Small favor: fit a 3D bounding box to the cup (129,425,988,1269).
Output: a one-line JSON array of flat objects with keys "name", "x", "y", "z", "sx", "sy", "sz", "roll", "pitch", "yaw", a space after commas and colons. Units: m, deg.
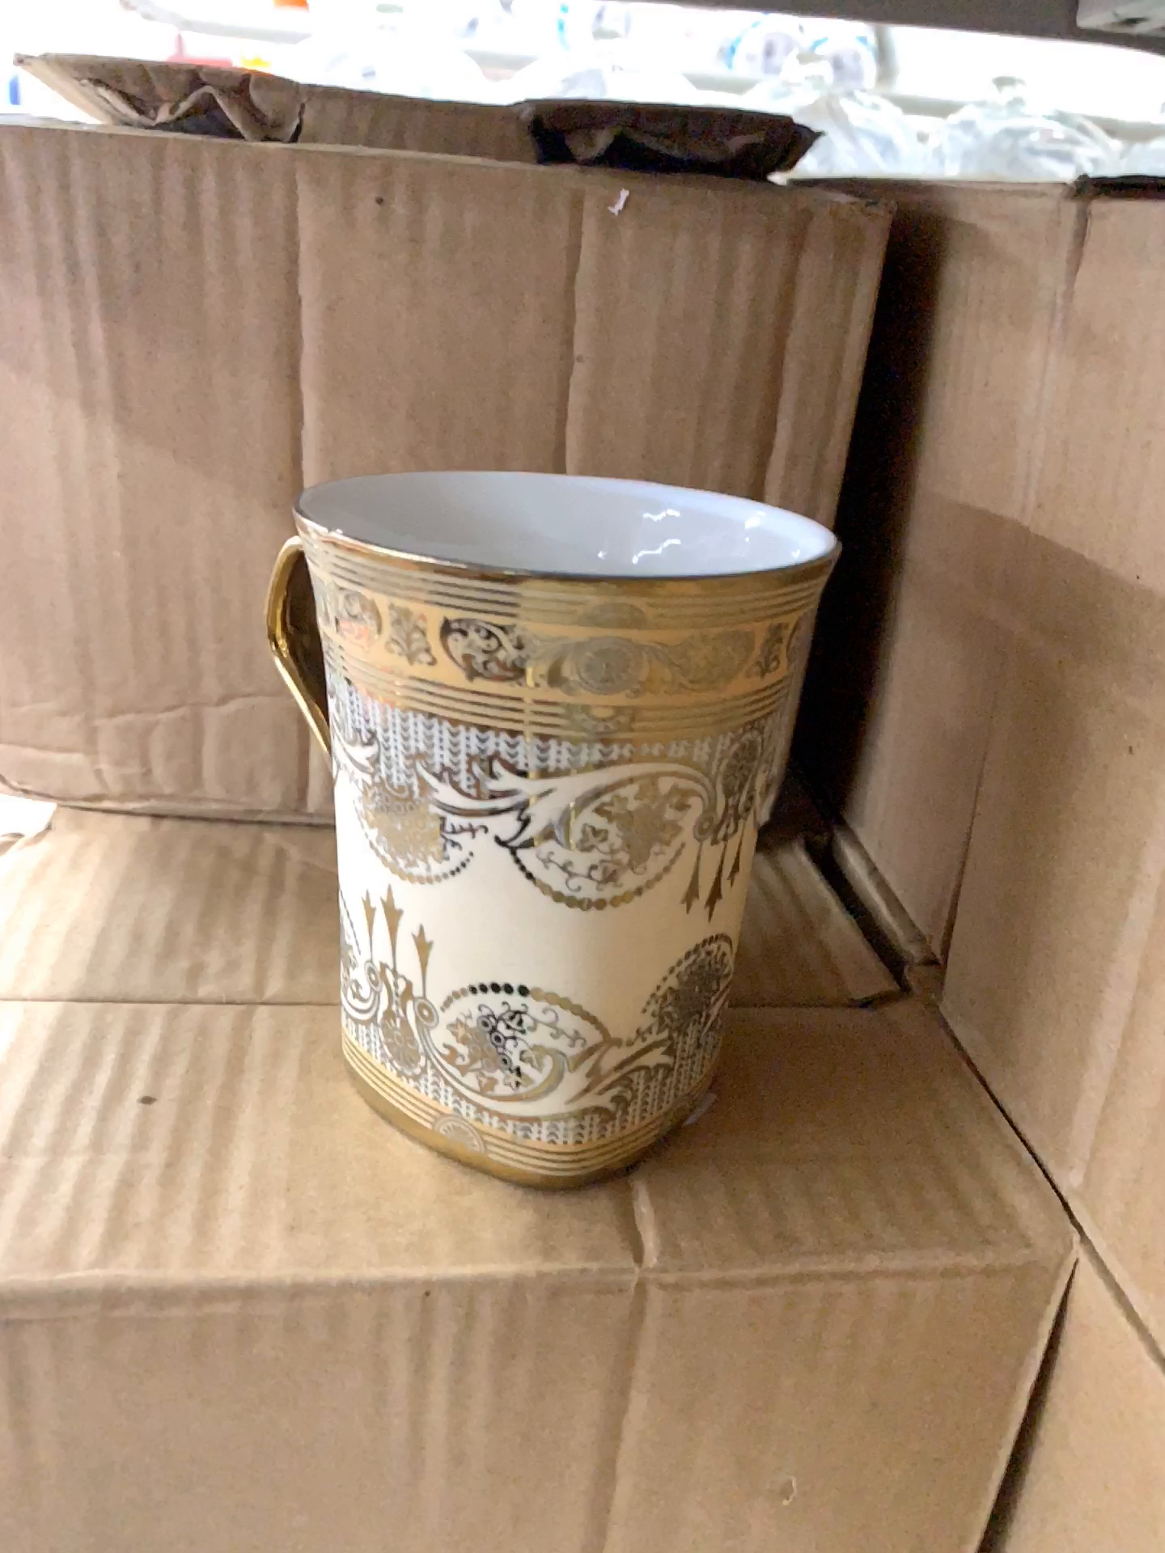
[{"name": "cup", "x": -0.006, "y": -0.003, "z": 0.207, "sx": 0.105, "sy": 0.092, "sz": 0.084, "roll": 21, "pitch": 29, "yaw": 36}]
